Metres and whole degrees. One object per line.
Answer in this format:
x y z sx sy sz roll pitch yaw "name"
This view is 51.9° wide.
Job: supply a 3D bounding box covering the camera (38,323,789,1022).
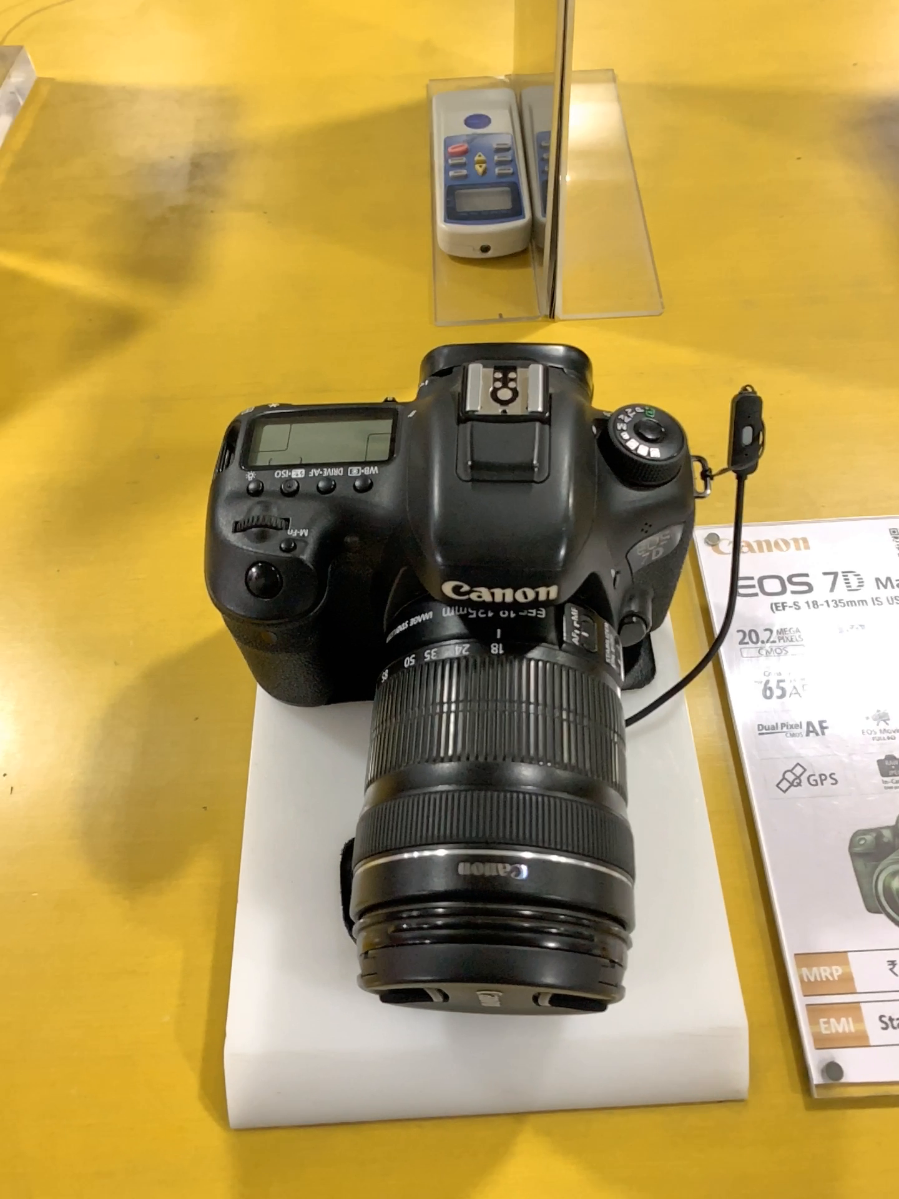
-0.004 0.024 0.264 0.140 0.120 0.160 0 59 3 "camera"
